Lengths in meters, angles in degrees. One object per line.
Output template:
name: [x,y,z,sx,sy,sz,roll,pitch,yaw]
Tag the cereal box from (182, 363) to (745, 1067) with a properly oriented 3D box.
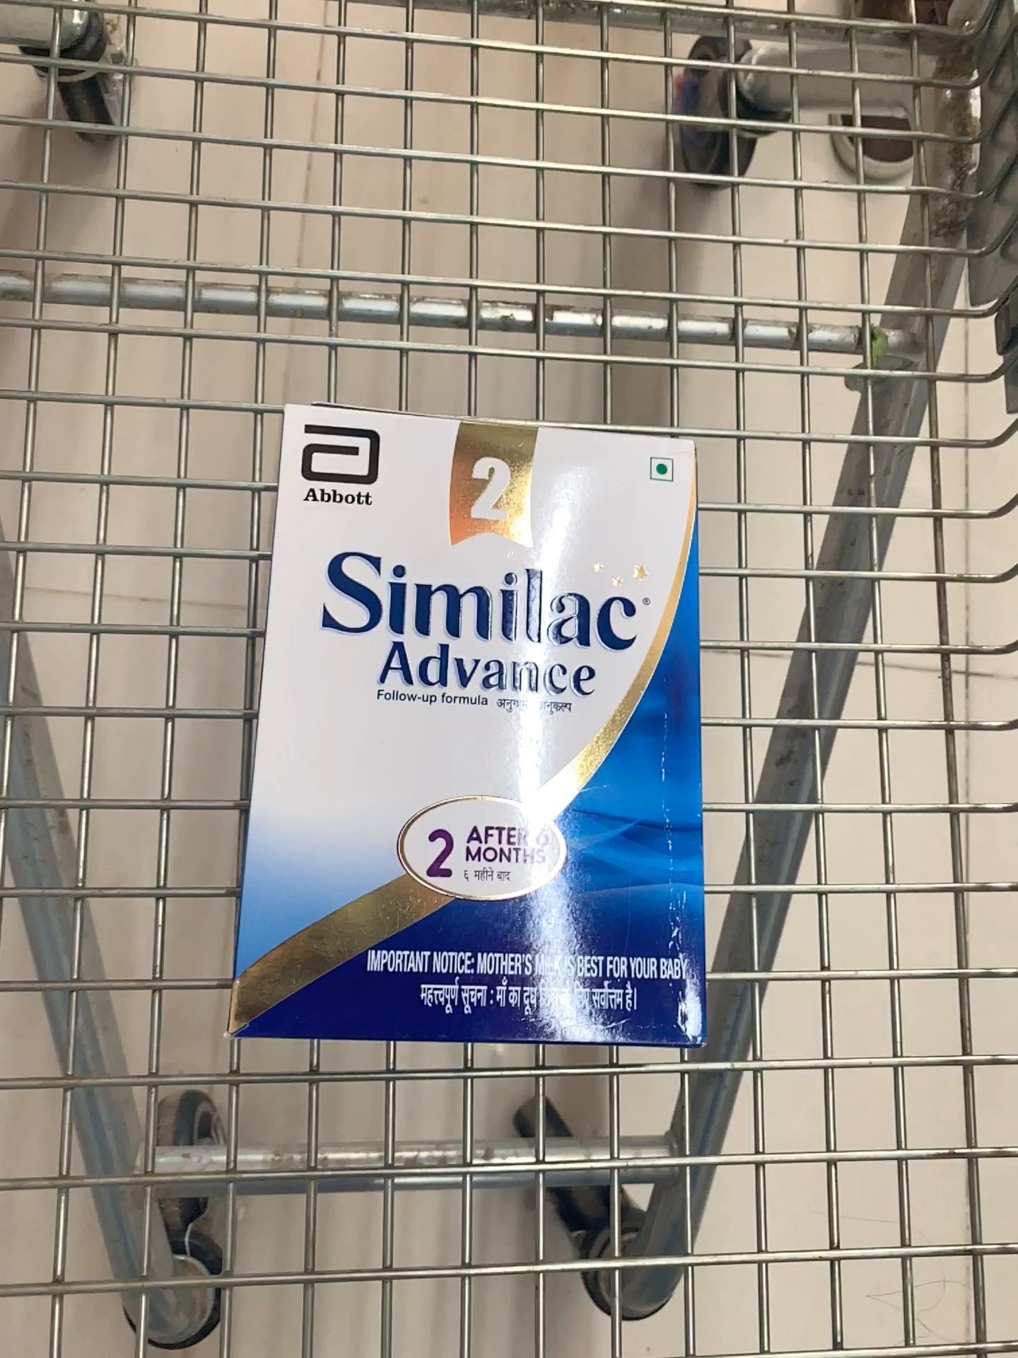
cereal box: [-0.010,0.012,0.332,0.150,0.060,0.200,3,75,-6]
